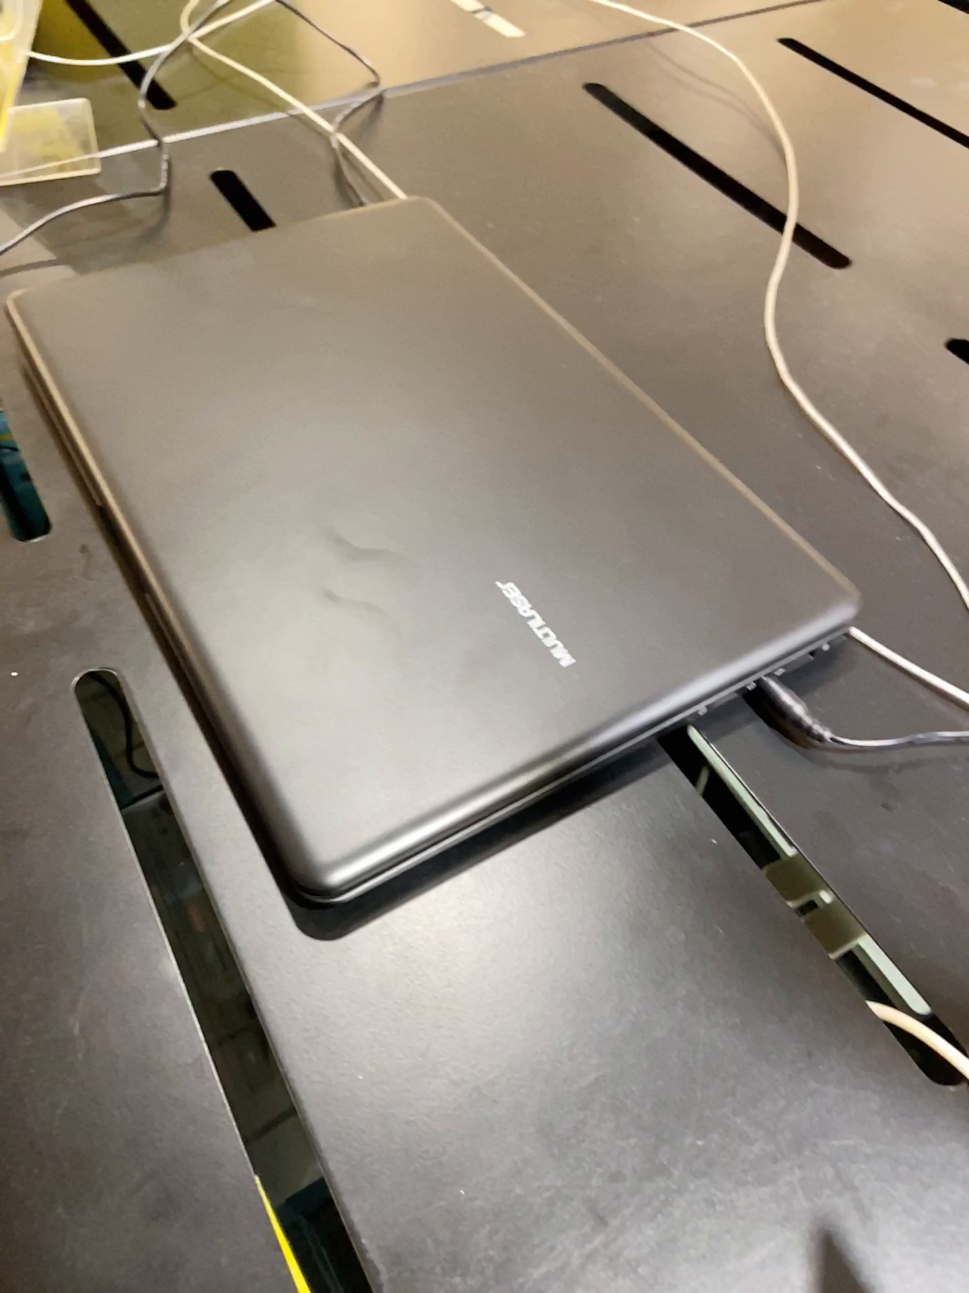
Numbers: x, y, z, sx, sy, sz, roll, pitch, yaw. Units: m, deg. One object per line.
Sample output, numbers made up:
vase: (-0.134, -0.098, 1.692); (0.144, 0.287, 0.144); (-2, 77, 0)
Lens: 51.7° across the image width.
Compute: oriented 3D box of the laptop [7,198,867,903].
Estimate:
laptop: (-0.040, -0.081, 0.398); (0.211, 0.001, 0.325); (-25, 56, -19)
